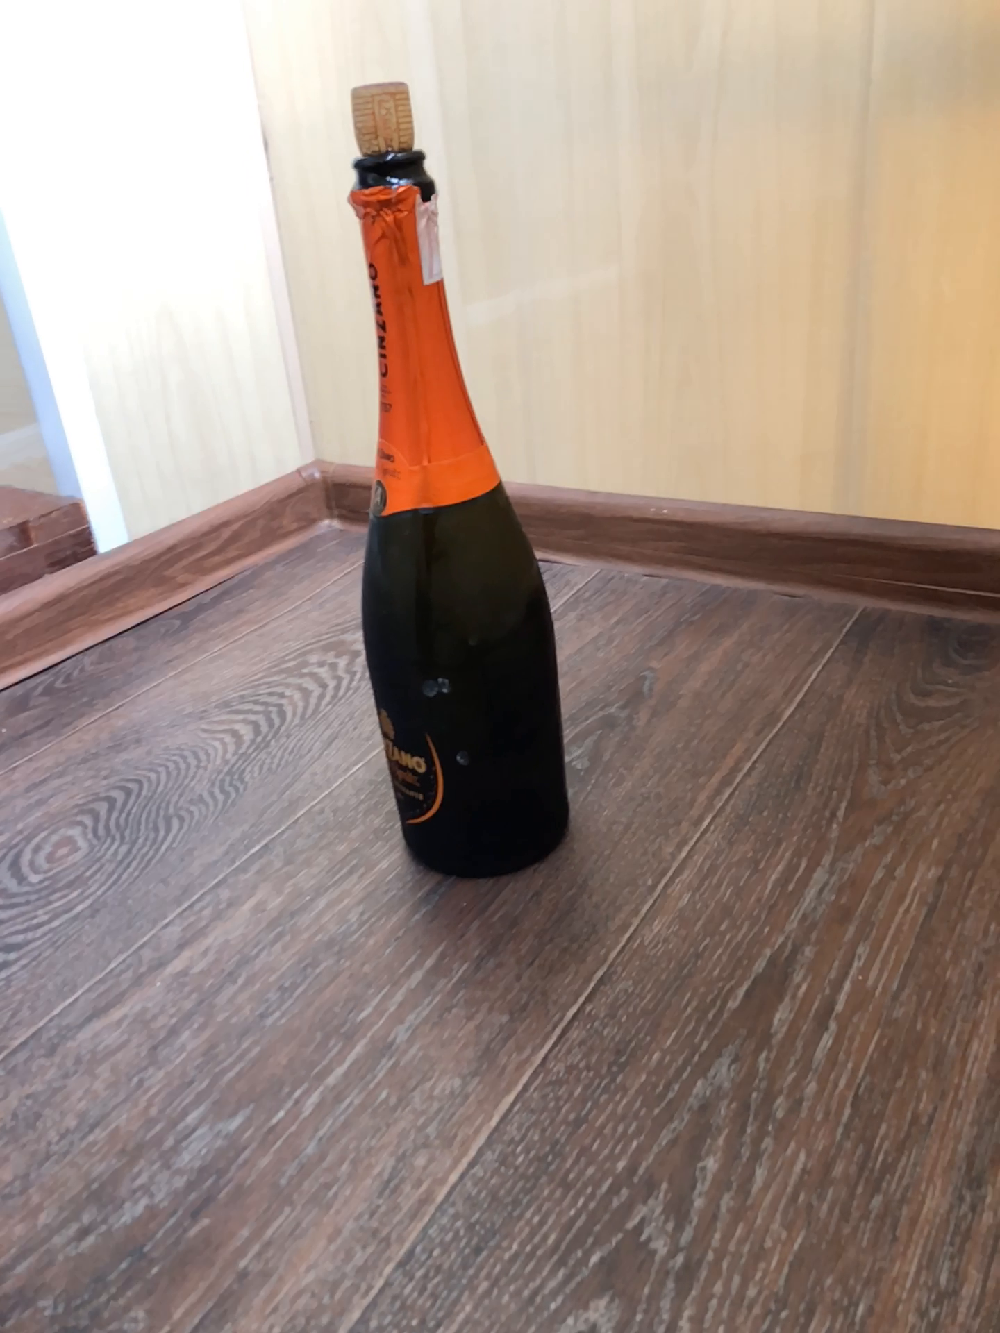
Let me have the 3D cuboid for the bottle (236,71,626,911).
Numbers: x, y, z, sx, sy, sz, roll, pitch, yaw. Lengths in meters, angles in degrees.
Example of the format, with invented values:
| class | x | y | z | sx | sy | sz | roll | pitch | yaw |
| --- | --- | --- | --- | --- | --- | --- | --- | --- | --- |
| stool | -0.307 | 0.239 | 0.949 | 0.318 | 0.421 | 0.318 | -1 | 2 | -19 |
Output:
| class | x | y | z | sx | sy | sz | roll | pitch | yaw |
| --- | --- | --- | --- | --- | --- | --- | --- | --- | --- |
| bottle | -0.020 | -0.068 | 0.479 | 0.100 | 0.328 | 0.093 | -5 | 25 | 2 |
